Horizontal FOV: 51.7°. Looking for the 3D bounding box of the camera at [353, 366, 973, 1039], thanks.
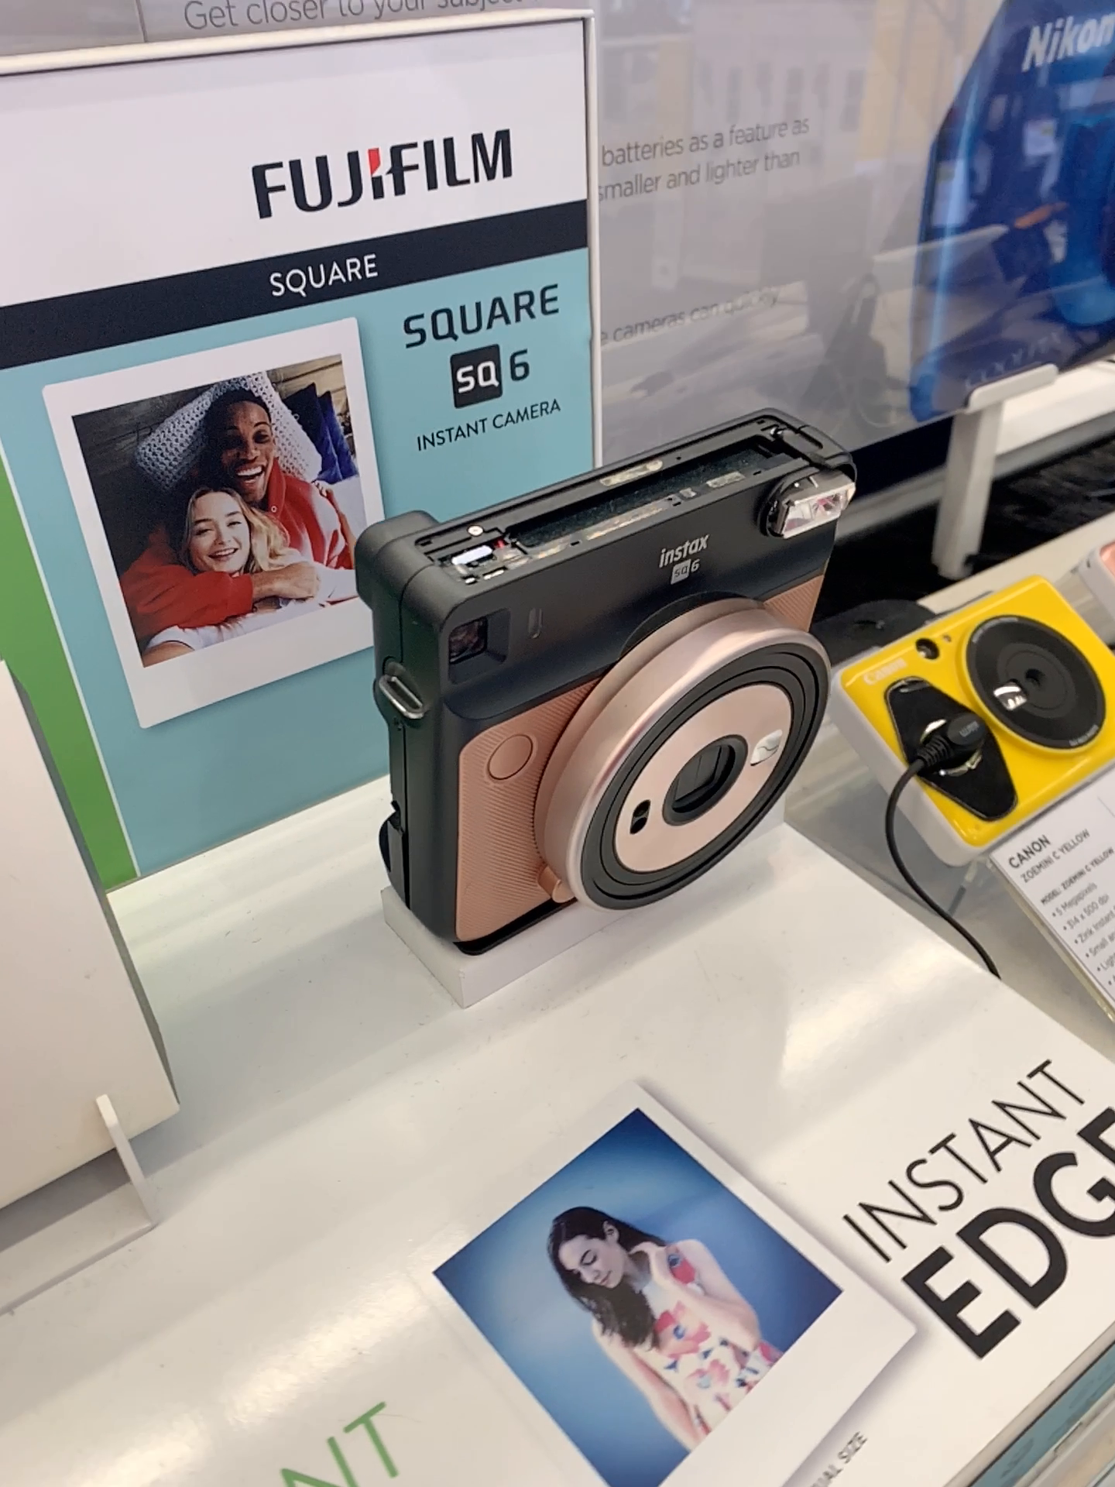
[{"bbox_3d":[0.022,-0.013,0.291,0.130,0.119,0.060,-26,52,-30],"label":"camera"}]
